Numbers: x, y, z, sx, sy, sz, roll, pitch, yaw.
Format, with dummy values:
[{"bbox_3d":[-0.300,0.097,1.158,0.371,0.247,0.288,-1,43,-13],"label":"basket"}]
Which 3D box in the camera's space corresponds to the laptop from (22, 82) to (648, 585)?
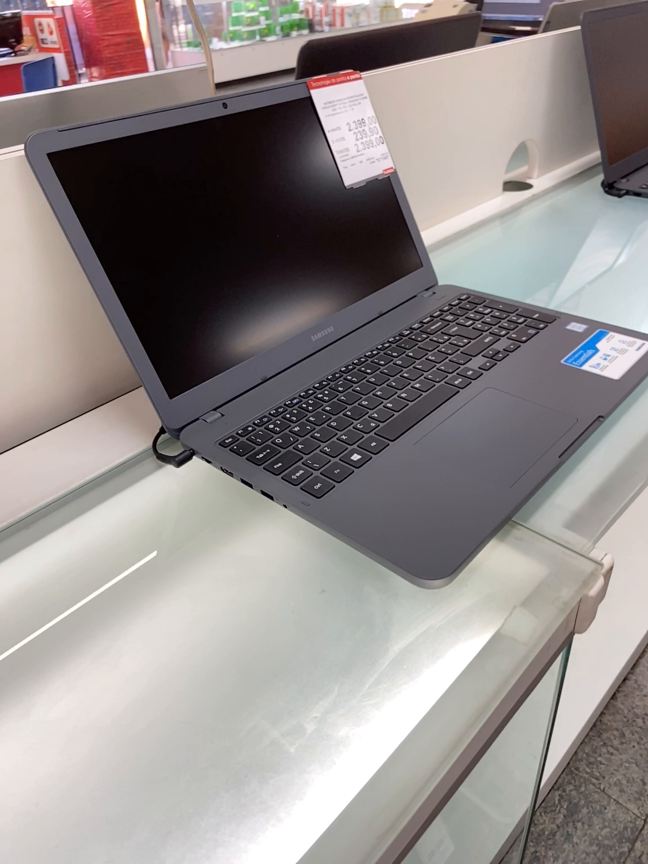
[{"bbox_3d":[0.046,-0.135,0.526,0.352,0.197,0.361,25,44,36],"label":"laptop"}]
